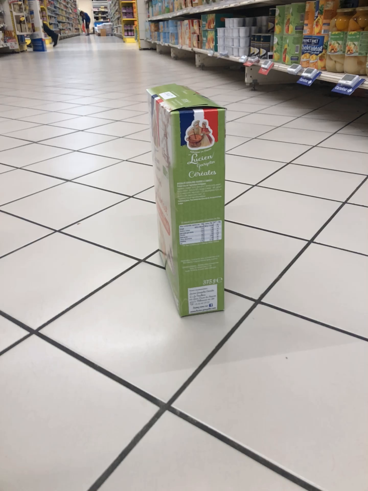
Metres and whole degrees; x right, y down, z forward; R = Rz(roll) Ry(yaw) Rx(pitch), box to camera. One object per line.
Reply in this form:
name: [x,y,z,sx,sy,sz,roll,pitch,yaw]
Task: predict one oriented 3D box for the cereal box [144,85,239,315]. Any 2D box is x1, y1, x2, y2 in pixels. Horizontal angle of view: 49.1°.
cereal box: [0.002,-0.071,0.529,0.070,0.239,0.201,-6,28,-10]
